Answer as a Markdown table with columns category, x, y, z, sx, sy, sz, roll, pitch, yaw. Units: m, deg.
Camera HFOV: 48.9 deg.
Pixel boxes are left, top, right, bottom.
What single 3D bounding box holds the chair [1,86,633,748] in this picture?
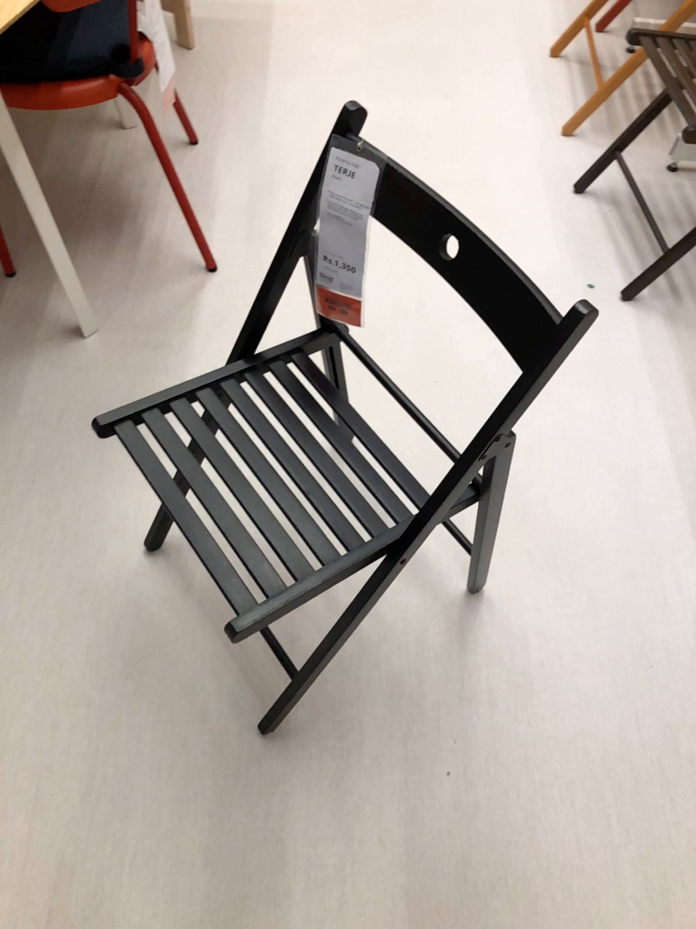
| category | x | y | z | sx | sy | sz | roll | pitch | yaw |
| --- | --- | --- | --- | --- | --- | --- | --- | --- | --- |
| chair | -0.053 | -0.011 | 1.087 | 0.481 | 0.727 | 0.441 | -30 | 64 | -20 |
